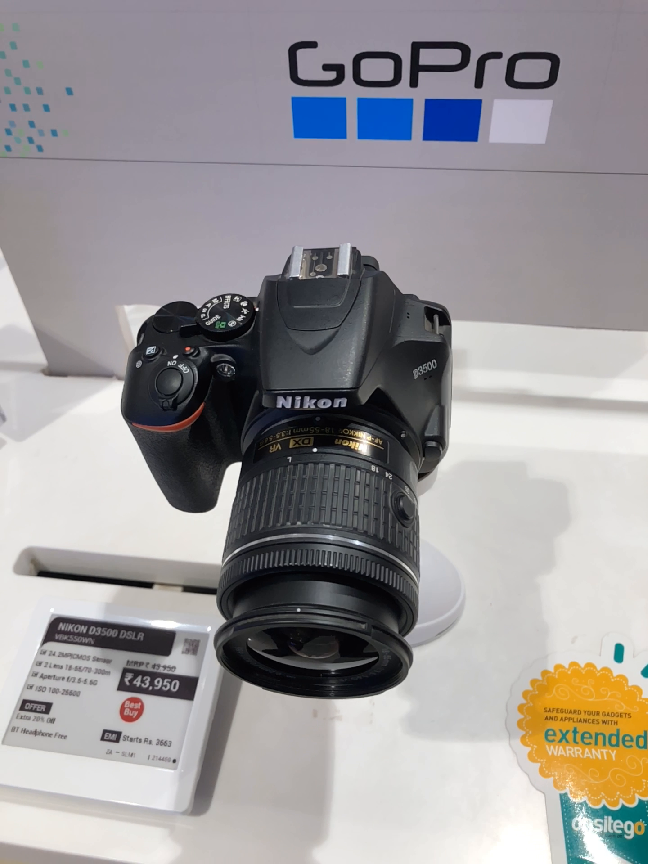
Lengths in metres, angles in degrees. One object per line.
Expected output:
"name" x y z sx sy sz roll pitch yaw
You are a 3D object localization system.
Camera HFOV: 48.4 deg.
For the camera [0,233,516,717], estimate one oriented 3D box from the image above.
"camera" -0.015 0.011 0.228 0.120 0.089 0.121 0 48 4
